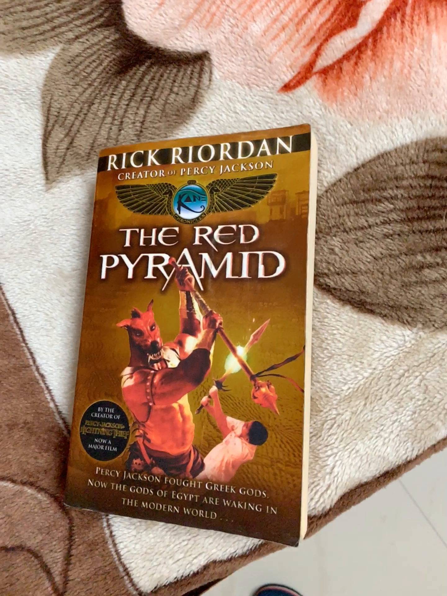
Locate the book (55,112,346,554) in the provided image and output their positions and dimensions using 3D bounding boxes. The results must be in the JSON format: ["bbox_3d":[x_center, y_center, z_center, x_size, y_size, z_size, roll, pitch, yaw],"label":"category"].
[{"bbox_3d":[-0.007,0.011,0.269,0.150,0.040,0.220,1,80,15],"label":"book"}]
